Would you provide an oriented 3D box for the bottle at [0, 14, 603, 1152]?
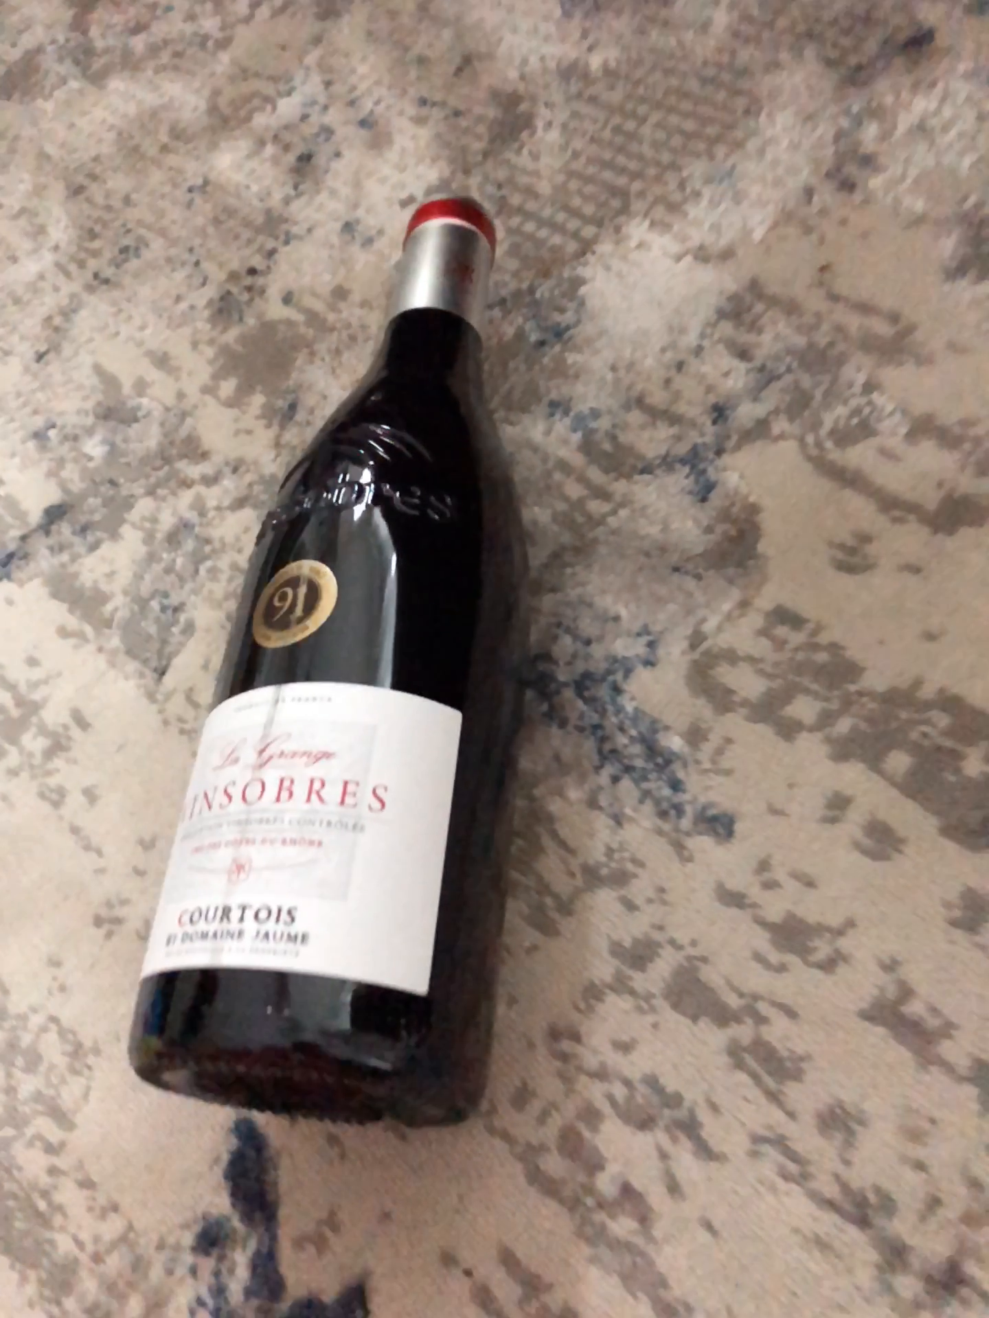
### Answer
[{"bbox_3d":[-0.033,-0.034,0.311,0.090,0.100,0.300,-5,59,20],"label":"bottle"}]
